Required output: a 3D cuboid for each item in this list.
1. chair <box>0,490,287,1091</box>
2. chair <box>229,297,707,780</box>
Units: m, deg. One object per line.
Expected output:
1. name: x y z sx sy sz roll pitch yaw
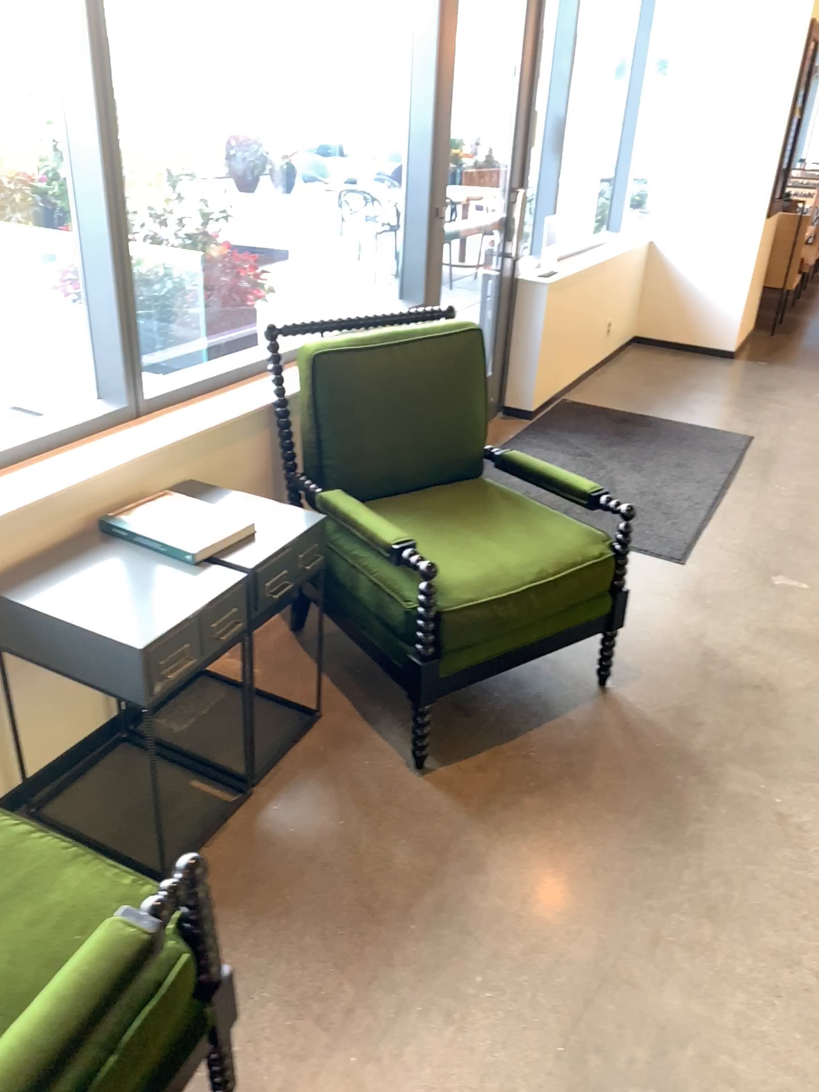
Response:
1. chair: -0.741 0.608 0.951 0.841 0.924 0.914 13 29 18
2. chair: 0.098 -0.125 2.434 0.871 0.924 0.945 -15 33 -31
